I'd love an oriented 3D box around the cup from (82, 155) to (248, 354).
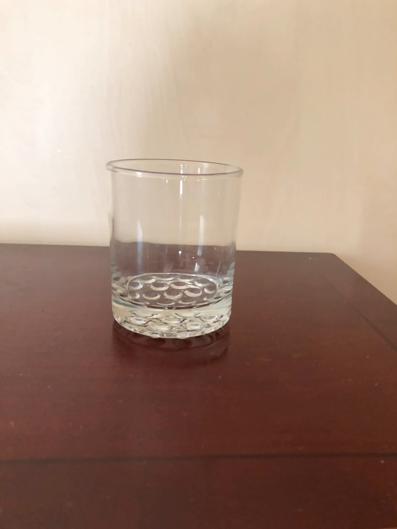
[{"bbox_3d":[-0.015,-0.013,0.269,0.081,0.097,0.082,2,17,-1],"label":"cup"}]
